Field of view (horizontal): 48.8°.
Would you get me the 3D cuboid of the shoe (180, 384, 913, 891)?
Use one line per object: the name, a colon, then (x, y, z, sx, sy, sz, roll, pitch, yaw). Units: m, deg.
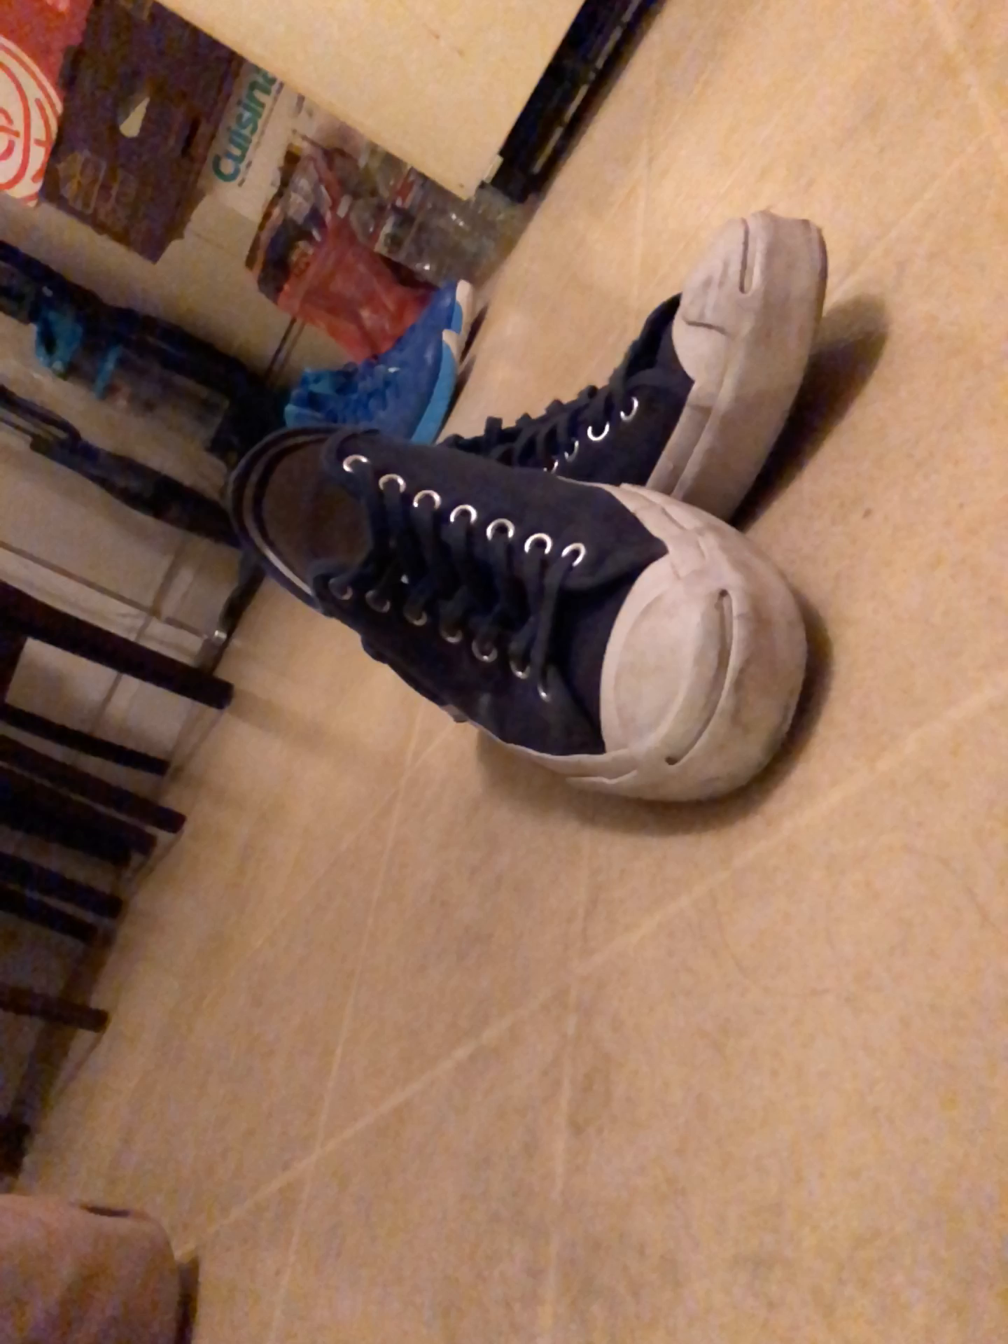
shoe: (-0.014, -0.034, 0.414, 0.292, 0.099, 0.100, 27, 110, 50)

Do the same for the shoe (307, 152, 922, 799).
shoe: (0.028, -0.067, 0.495, 0.290, 0.080, 0.110, -40, 32, 38)
